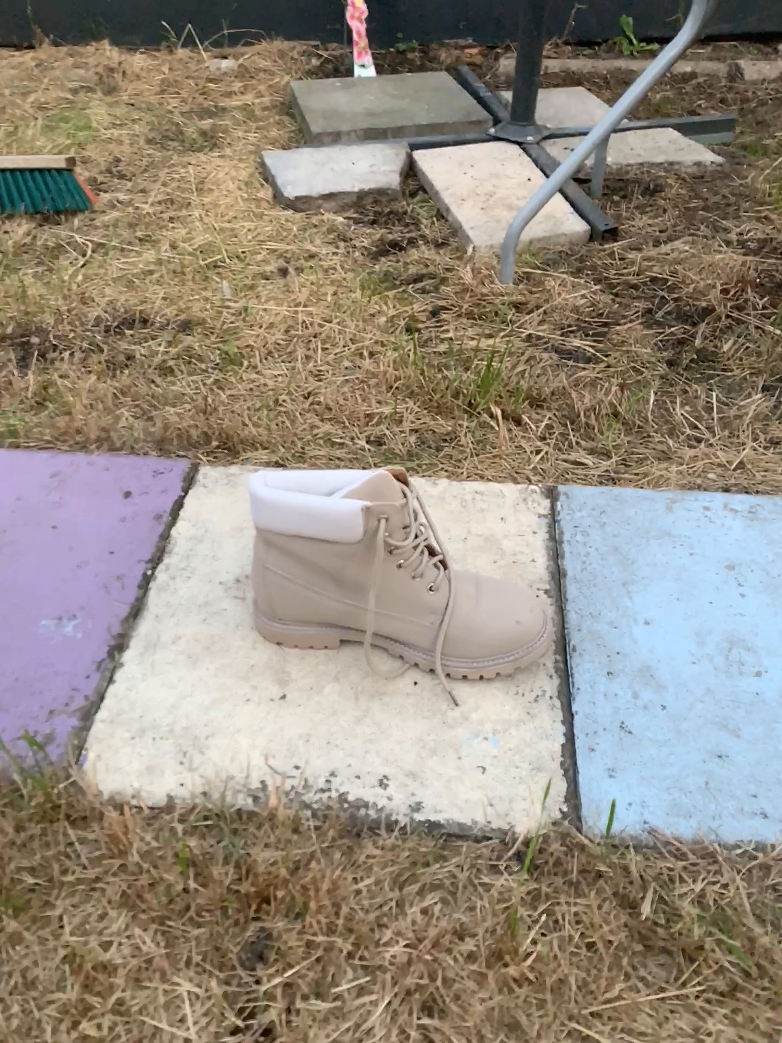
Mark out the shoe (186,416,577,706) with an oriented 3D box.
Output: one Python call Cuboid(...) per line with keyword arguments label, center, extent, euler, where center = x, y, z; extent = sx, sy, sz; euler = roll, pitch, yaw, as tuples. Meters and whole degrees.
Cuboid(label="shoe", center=(-0.001, 0.034, 0.659), extent=(0.280, 0.198, 0.101), euler=(6, 43, 9))
